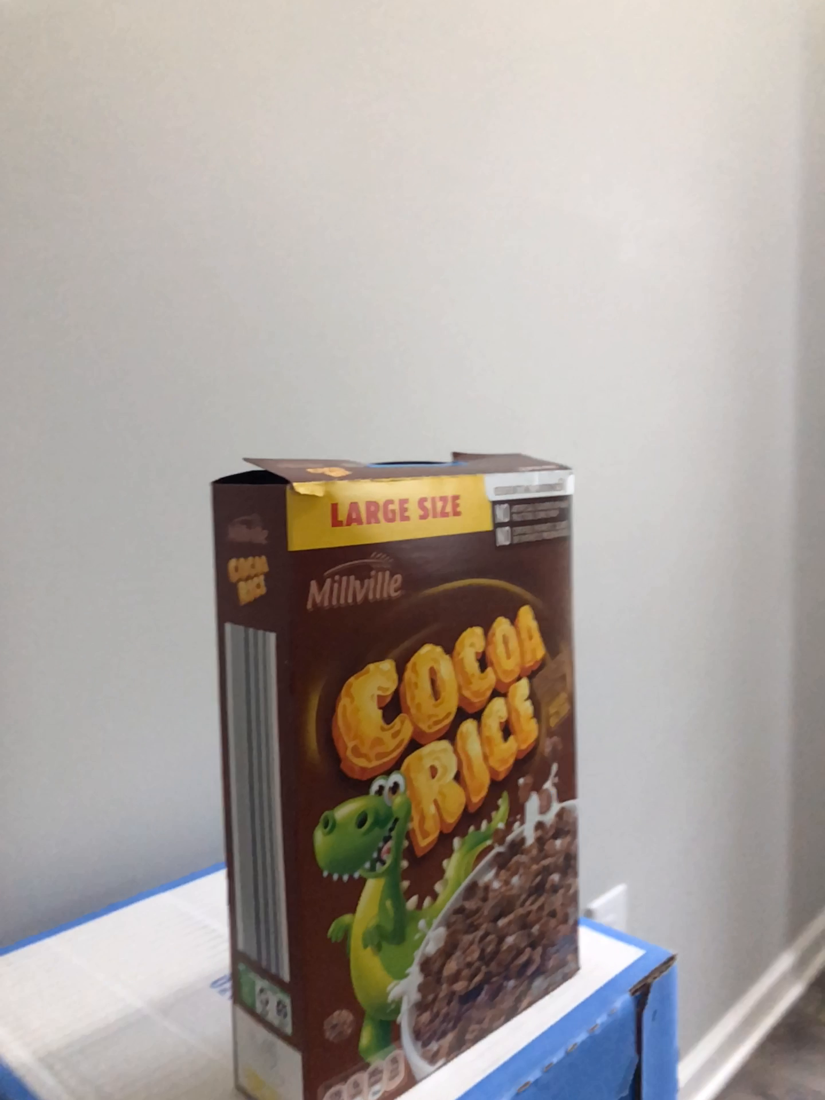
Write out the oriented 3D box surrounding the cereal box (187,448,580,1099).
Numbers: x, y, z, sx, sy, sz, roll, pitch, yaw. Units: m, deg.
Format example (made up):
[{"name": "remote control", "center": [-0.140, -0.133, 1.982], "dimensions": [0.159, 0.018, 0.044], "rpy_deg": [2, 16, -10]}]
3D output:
[{"name": "cereal box", "center": [-0.001, 0.096, 0.454], "dimensions": [0.200, 0.290, 0.060], "rpy_deg": [-6, 7, -44]}]
